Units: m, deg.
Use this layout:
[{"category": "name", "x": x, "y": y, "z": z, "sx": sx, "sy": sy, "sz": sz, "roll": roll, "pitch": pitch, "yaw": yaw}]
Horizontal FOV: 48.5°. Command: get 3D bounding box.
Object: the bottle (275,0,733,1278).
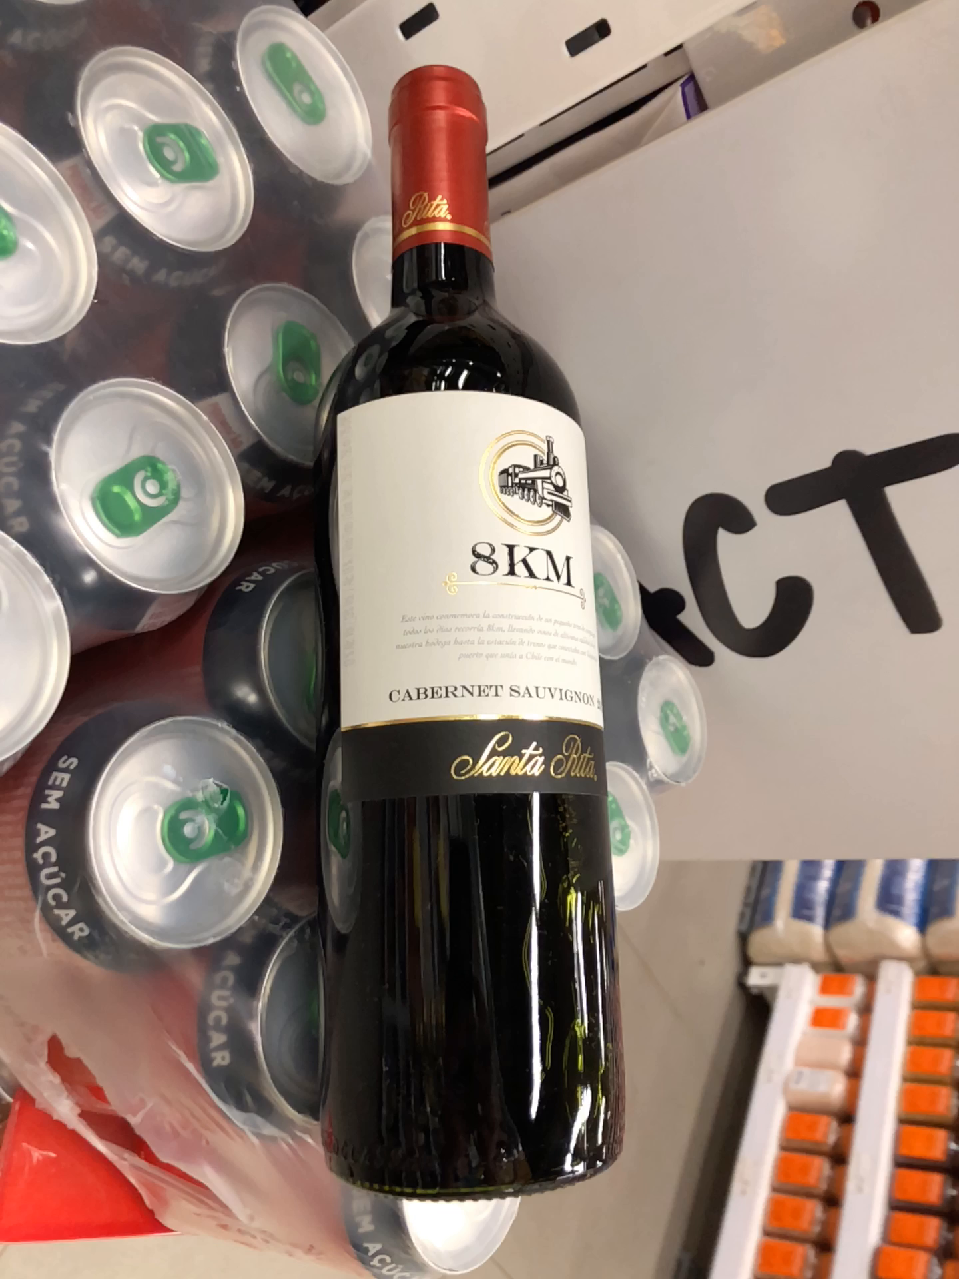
[{"category": "bottle", "x": 0.001, "y": -0.028, "z": 0.279, "sx": 0.081, "sy": 0.070, "sz": 0.320, "roll": 13, "pitch": 70, "yaw": -50}]
